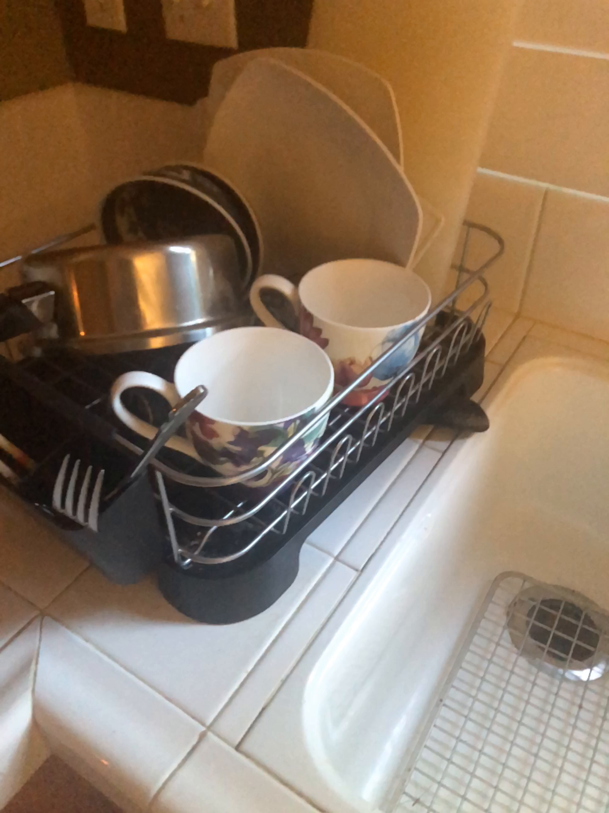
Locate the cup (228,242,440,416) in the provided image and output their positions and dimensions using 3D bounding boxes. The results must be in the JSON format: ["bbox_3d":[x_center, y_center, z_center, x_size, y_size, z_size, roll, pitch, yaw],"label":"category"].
[{"bbox_3d":[0.030,-0.070,0.589,0.160,0.089,0.111,6,41,8],"label":"cup"}]

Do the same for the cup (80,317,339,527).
[{"bbox_3d":[-0.062,0.008,0.491,0.160,0.089,0.111,-4,40,-4],"label":"cup"}]
